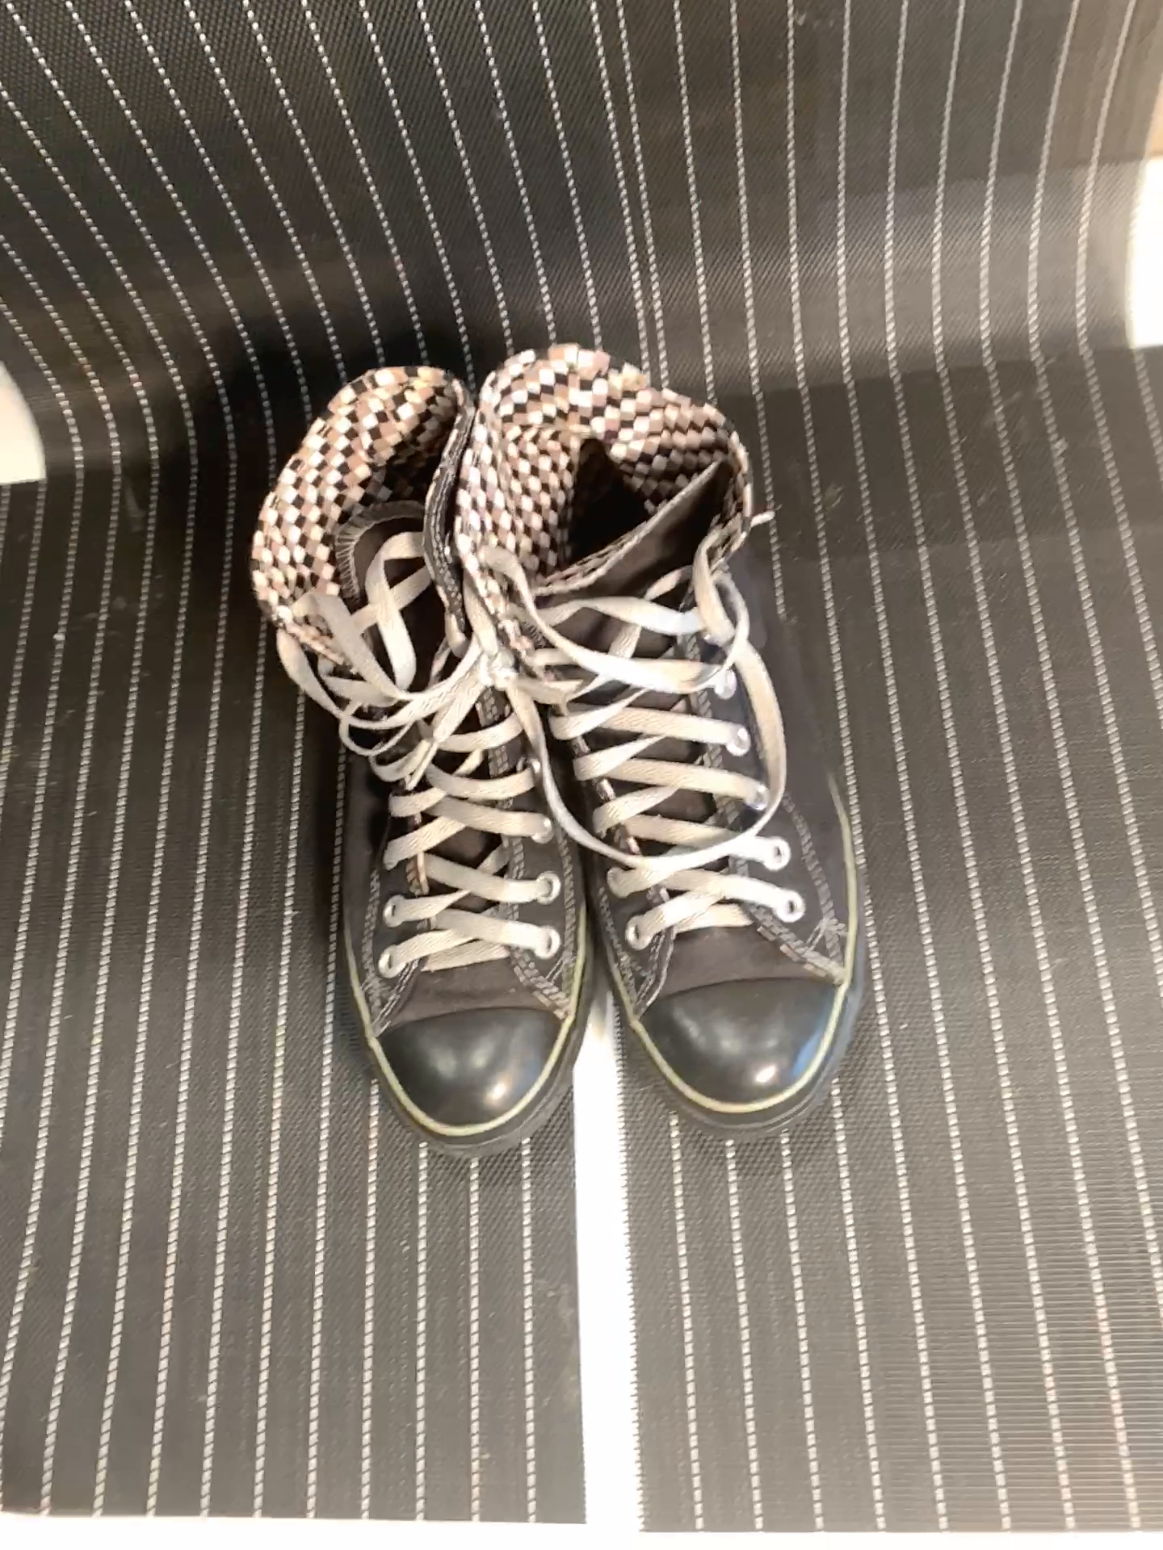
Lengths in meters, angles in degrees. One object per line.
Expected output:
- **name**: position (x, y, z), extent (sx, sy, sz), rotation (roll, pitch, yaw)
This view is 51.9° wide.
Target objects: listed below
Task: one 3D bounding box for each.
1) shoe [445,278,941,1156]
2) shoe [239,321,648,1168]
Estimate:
- **shoe**: position (0.036, -0.016, 0.454), extent (0.110, 0.130, 0.290), rotation (-12, 70, 6)
- **shoe**: position (-0.049, -0.005, 0.463), extent (0.110, 0.130, 0.290), rotation (-7, 71, 8)
